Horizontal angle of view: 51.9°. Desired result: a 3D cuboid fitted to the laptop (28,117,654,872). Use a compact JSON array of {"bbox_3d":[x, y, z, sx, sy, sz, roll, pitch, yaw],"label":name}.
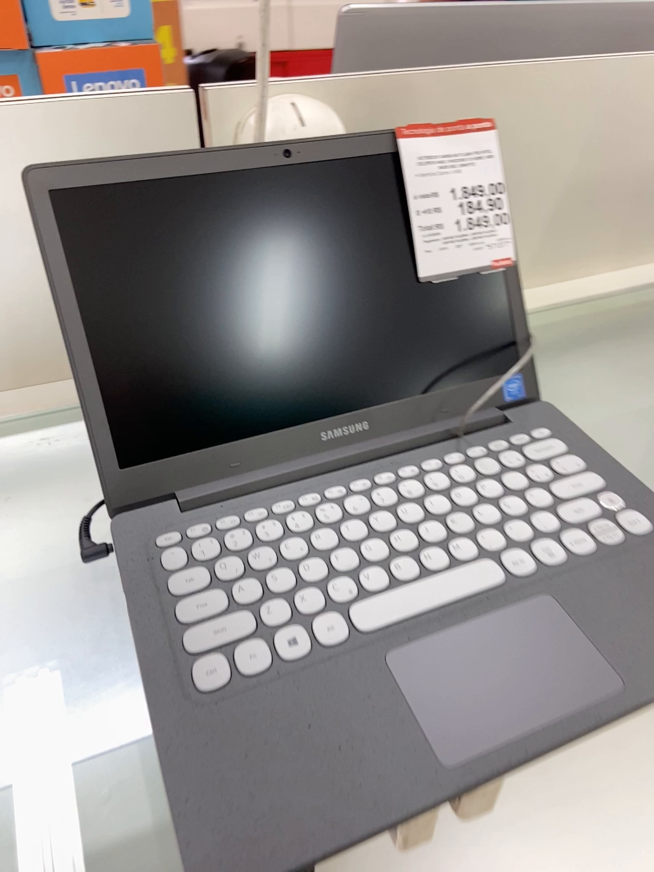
[{"bbox_3d":[0.037,-0.028,0.373,0.325,0.172,0.342,-14,40,-17],"label":"laptop"}]
